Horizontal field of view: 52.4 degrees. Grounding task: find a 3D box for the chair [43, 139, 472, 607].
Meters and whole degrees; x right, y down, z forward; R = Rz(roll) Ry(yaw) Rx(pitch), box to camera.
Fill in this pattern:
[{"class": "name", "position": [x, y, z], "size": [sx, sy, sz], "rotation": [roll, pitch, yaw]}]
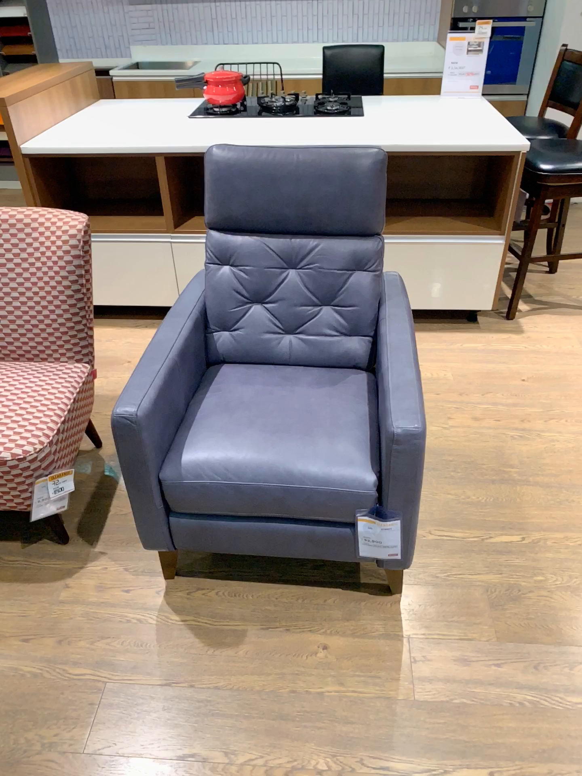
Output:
[{"class": "chair", "position": [-0.017, -0.080, 1.684], "size": [0.770, 0.996, 0.854], "rotation": [2, 36, 6]}]
